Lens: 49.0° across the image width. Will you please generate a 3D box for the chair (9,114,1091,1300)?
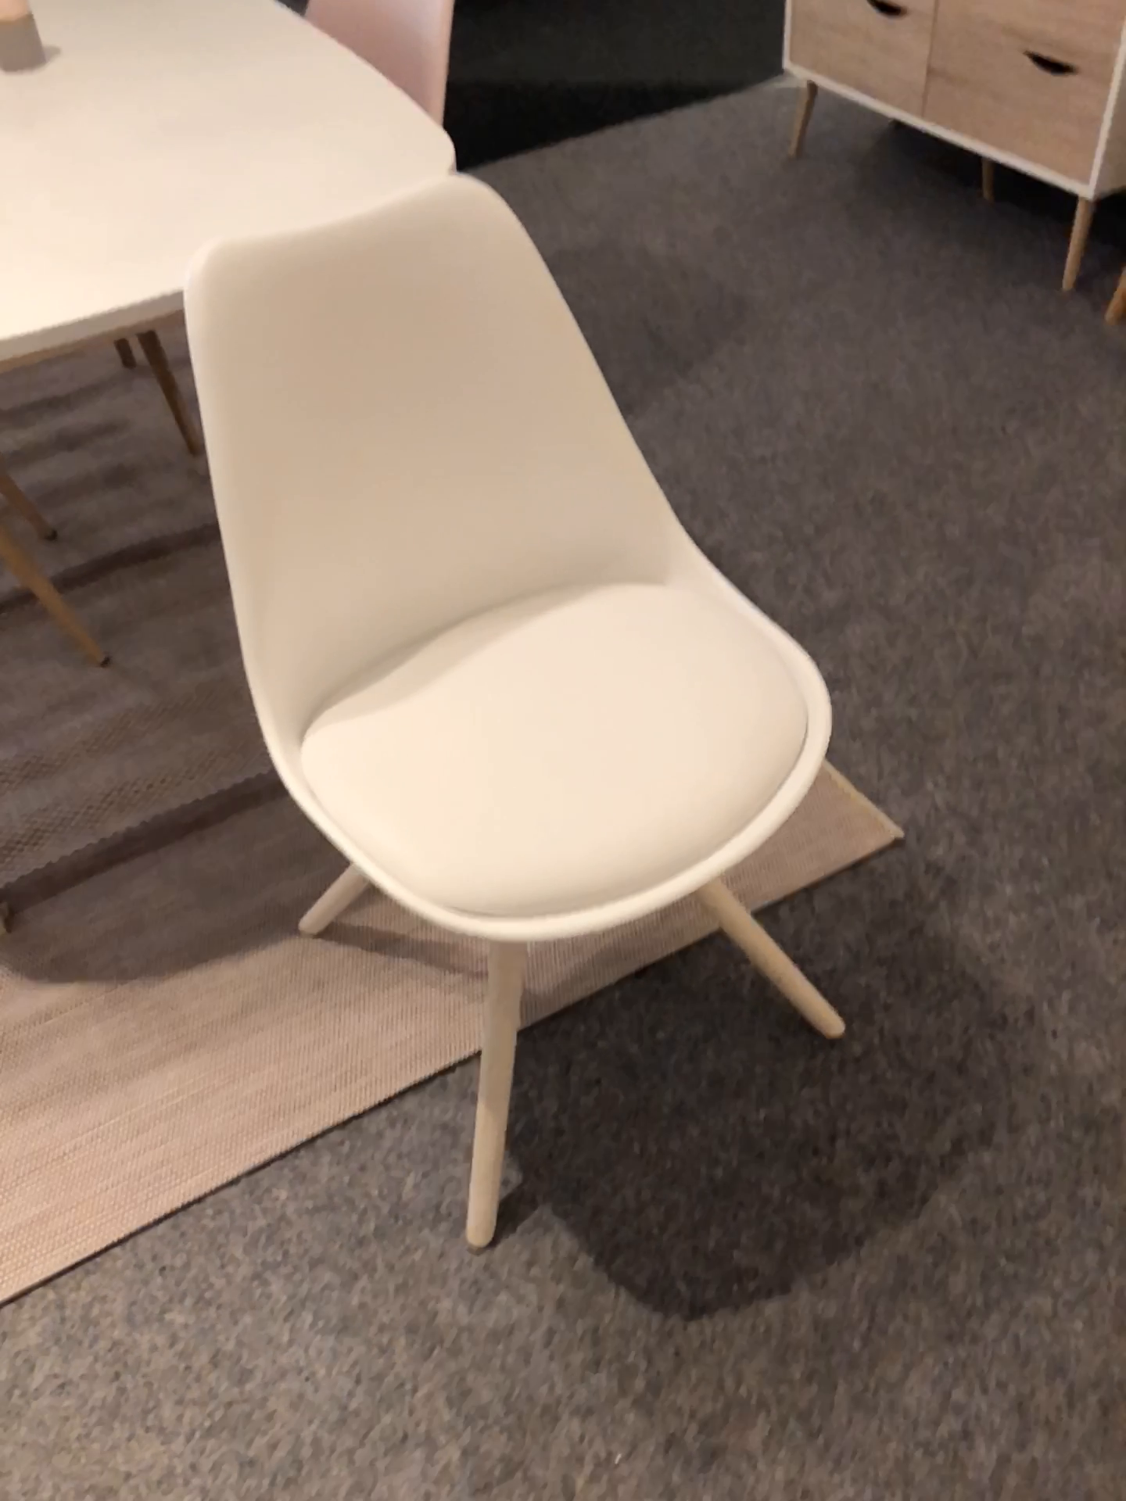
[{"bbox_3d":[-0.029,-0.043,1.147,0.551,0.756,0.591,-25,49,-19],"label":"chair"}]
